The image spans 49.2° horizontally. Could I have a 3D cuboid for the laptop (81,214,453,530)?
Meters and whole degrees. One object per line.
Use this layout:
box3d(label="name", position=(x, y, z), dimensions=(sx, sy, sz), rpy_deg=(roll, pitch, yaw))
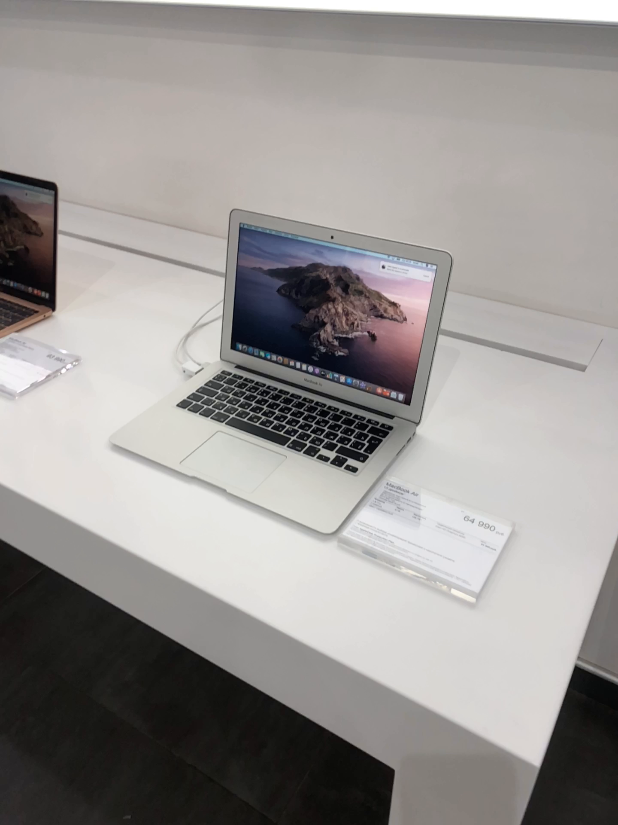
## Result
box3d(label="laptop", position=(-0.040, -0.075, 0.809), dimensions=(0.315, 0.207, 0.271), rpy_deg=(18, 38, 26))
